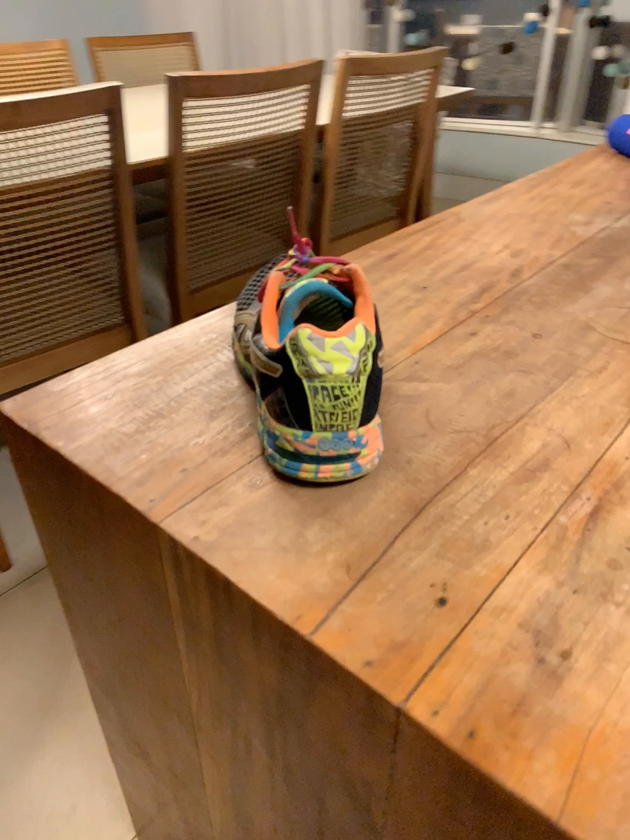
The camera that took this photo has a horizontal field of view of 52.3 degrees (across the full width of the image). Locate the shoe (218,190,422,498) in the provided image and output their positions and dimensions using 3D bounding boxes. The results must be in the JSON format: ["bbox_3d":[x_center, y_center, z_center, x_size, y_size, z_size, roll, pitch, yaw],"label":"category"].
[{"bbox_3d":[-0.015,-0.088,0.524,0.107,0.112,0.314,-5,34,-7],"label":"shoe"}]
